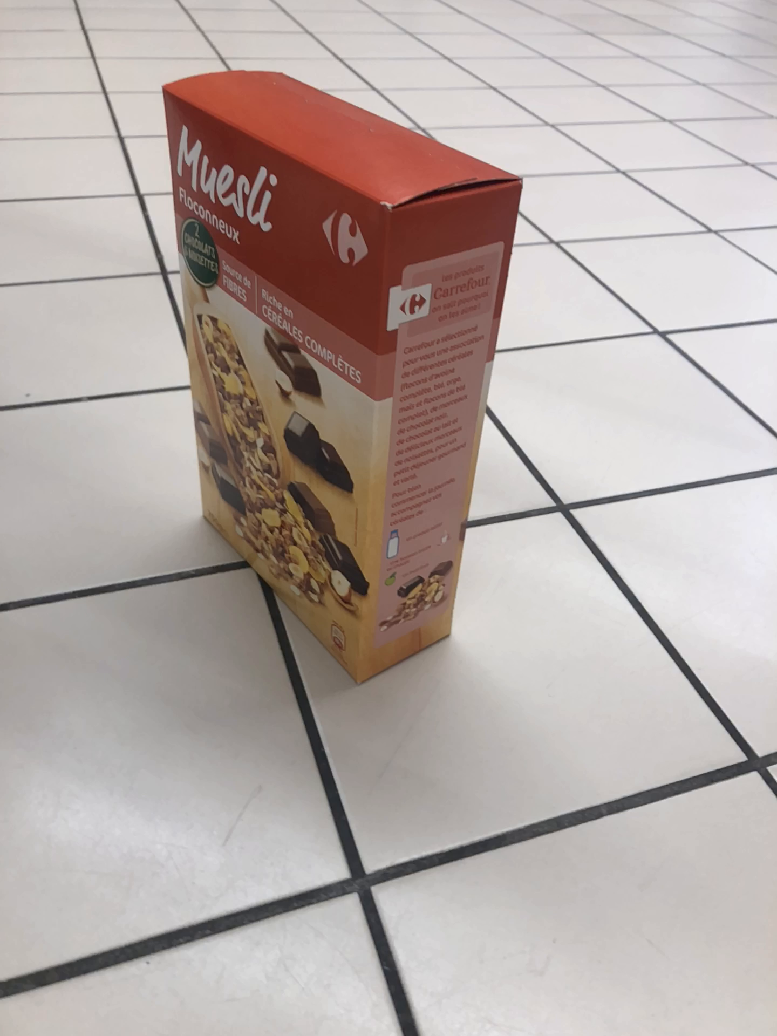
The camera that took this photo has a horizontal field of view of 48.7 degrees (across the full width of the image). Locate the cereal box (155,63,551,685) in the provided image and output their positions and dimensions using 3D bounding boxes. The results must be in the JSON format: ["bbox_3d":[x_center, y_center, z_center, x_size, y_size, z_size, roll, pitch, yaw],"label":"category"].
[{"bbox_3d":[-0.030,-0.067,0.417,0.070,0.239,0.170,-24,48,-31],"label":"cereal box"}]
